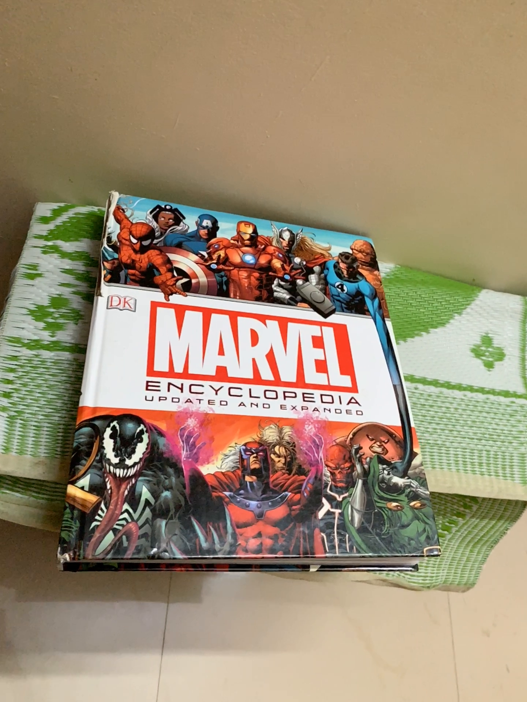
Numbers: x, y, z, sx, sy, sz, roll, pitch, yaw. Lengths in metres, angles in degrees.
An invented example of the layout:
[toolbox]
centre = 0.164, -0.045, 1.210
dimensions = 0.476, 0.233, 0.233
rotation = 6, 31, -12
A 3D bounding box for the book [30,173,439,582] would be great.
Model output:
[book]
centre = -0.018, 0.008, 0.435
dimensions = 0.260, 0.040, 0.321
rotation = 7, 57, -16
